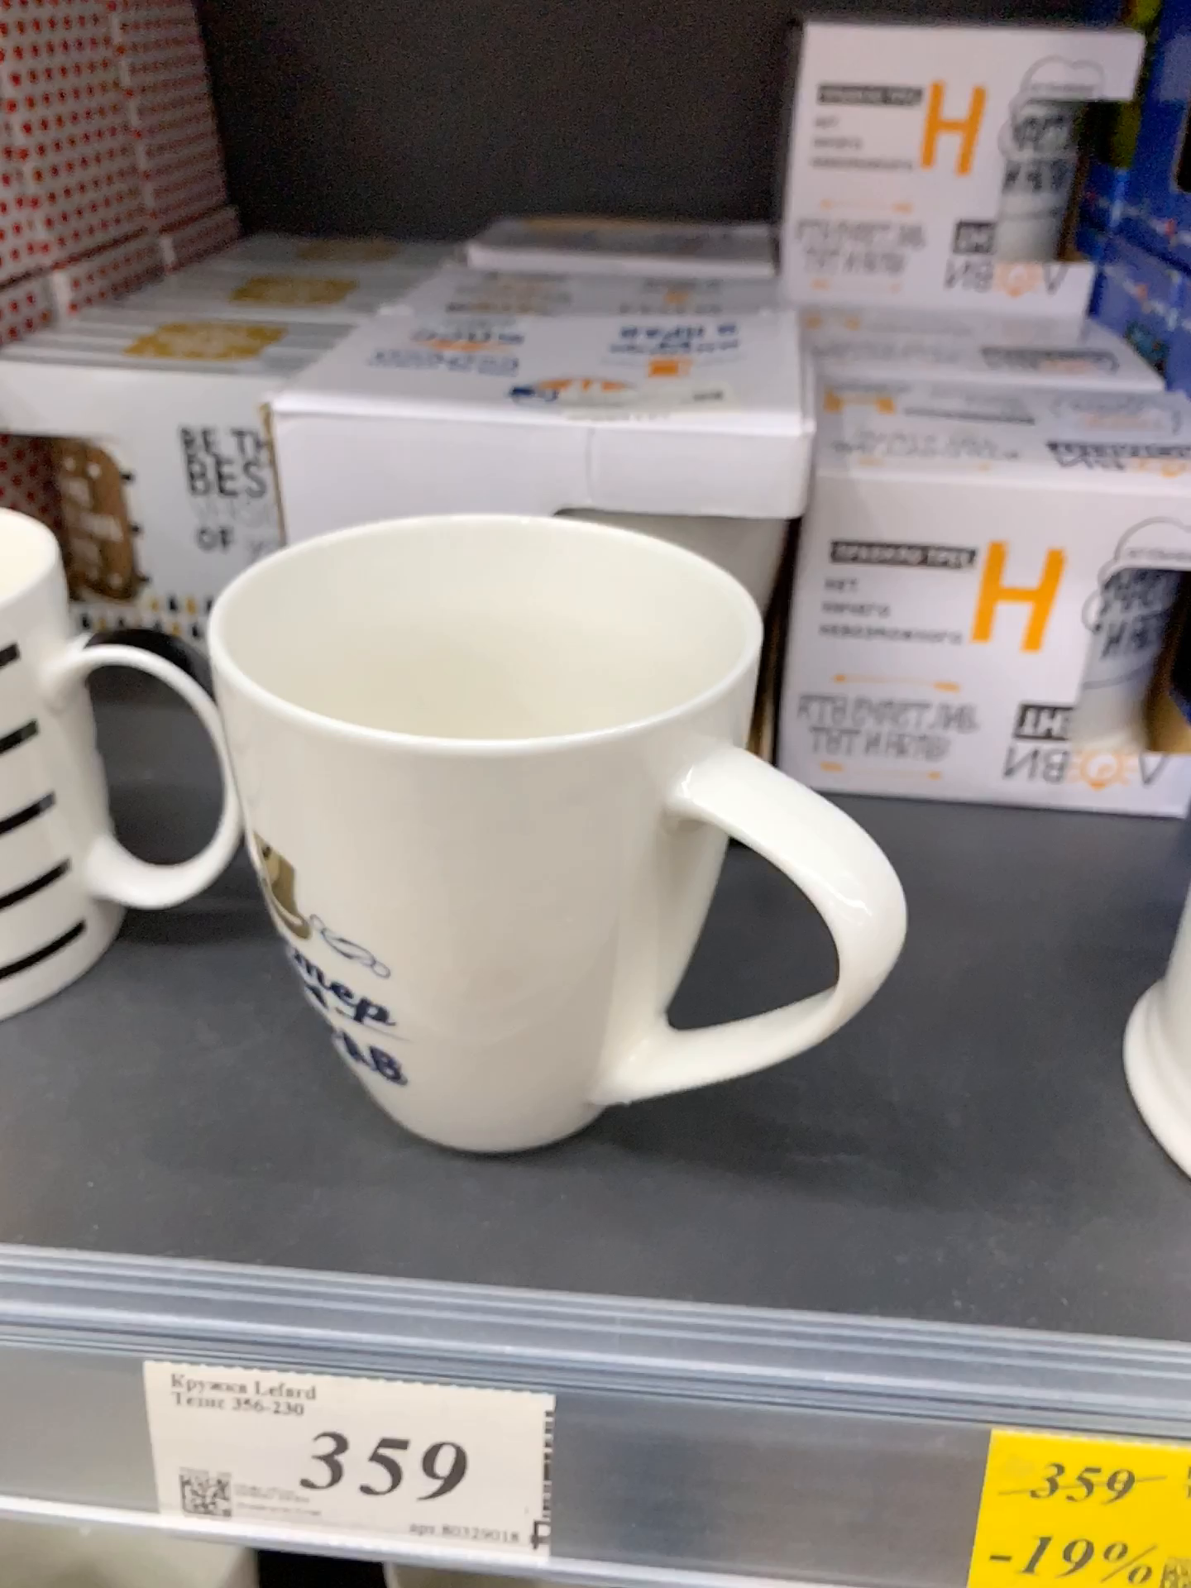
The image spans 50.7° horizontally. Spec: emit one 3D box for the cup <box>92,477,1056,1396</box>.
[{"bbox_3d":[-0.005,0.012,0.234,0.132,0.093,0.093,23,38,31],"label":"cup"}]
